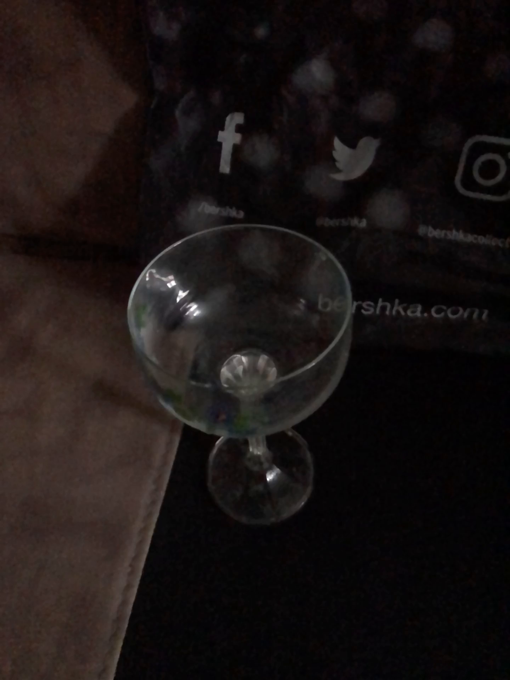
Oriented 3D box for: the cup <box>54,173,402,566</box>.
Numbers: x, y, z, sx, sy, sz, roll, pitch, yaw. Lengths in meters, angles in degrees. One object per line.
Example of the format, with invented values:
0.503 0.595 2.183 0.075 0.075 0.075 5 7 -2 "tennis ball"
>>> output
-0.007 0.022 0.267 0.096 0.147 0.085 33 62 24 "cup"
